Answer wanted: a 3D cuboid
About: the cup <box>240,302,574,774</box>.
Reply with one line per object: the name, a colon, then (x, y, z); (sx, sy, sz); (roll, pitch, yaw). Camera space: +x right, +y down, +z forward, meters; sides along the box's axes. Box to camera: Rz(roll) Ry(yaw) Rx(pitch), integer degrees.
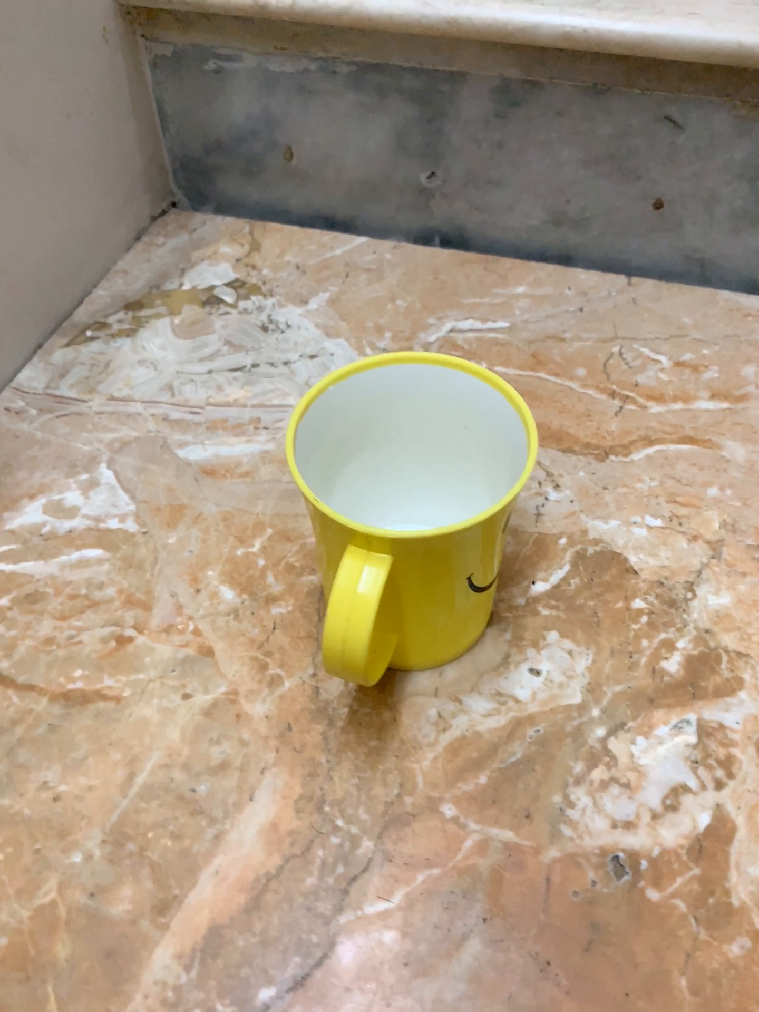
cup: (0.015, 0.008, 0.256); (0.070, 0.089, 0.111); (11, 51, 10)
